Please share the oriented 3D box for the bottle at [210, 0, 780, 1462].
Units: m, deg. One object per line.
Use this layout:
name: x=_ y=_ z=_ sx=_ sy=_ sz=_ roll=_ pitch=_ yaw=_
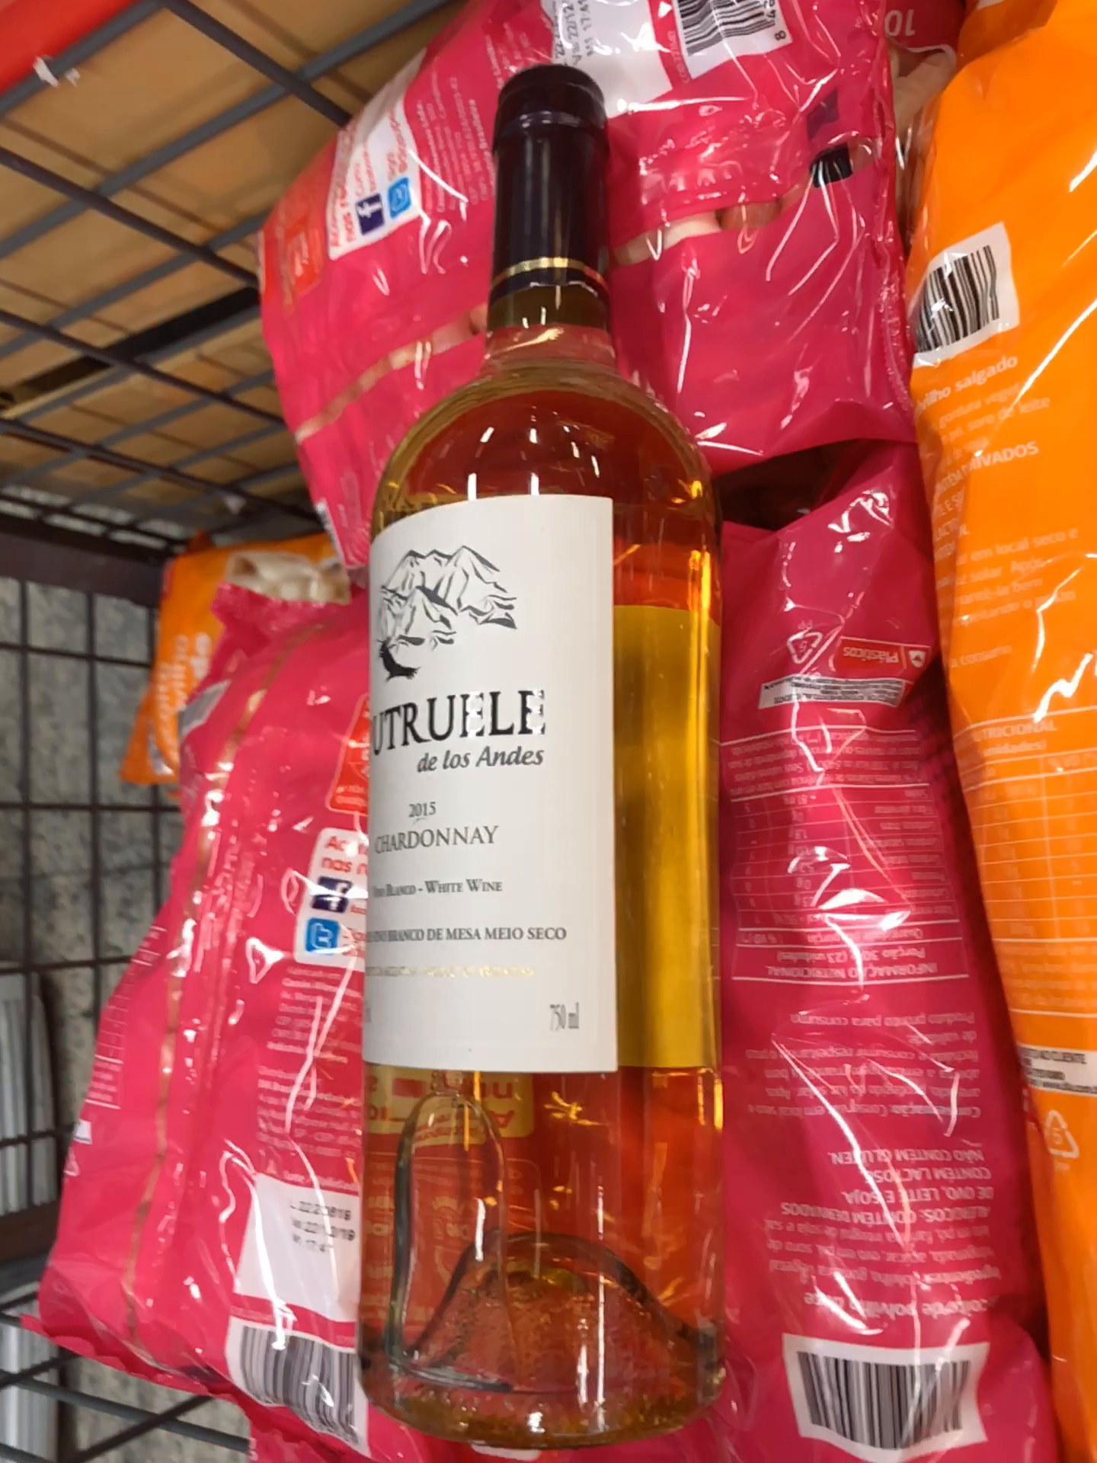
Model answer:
bottle: x=-0.006 y=-0.016 z=0.261 sx=0.080 sy=0.070 sz=0.300 roll=-8 pitch=74 yaw=33
